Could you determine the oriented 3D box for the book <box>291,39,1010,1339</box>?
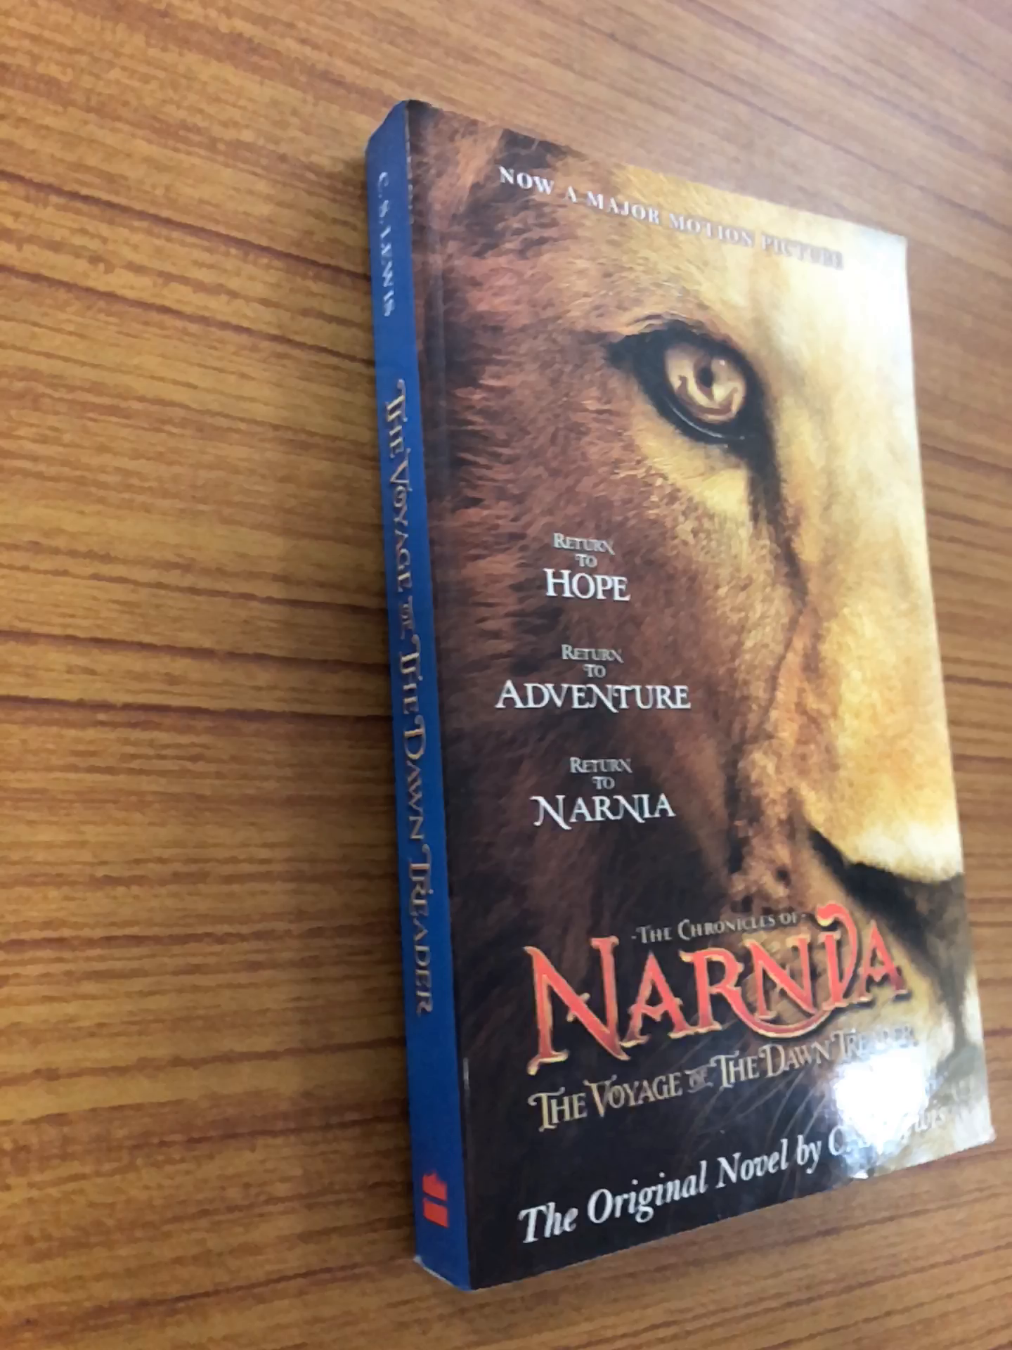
[{"bbox_3d":[0.028,-0.001,0.202,0.121,0.030,0.180,1,81,-32],"label":"book"}]
